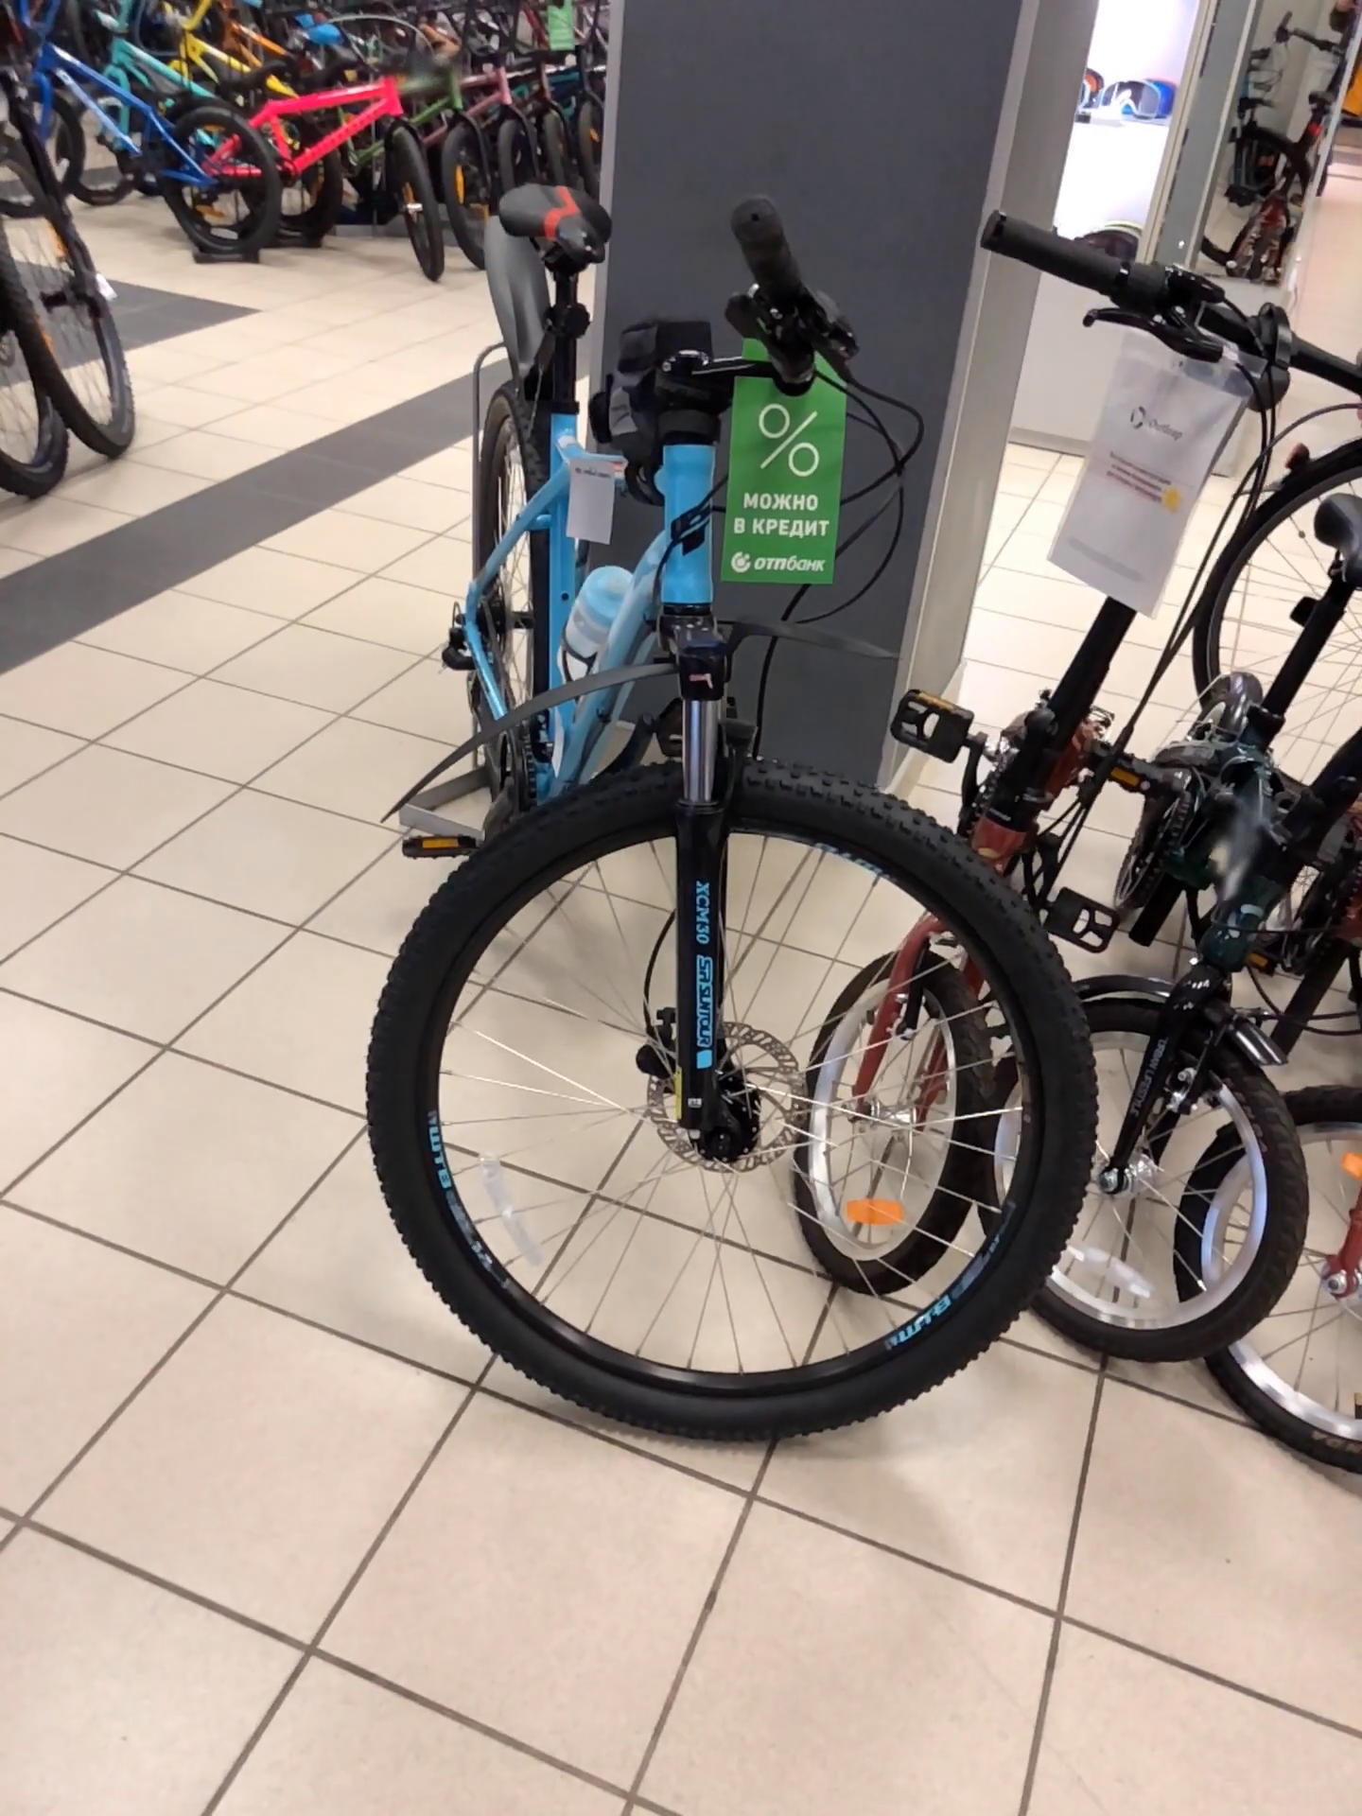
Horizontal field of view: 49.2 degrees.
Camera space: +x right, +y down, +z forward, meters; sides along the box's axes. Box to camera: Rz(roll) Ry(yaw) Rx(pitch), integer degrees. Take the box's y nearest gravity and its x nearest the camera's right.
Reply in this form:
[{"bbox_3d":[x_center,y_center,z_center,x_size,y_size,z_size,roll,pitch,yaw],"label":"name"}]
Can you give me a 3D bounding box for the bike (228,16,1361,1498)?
[{"bbox_3d":[0.020,-0.354,1.861,0.692,1.084,1.617,-10,38,-24],"label":"bike"}]
